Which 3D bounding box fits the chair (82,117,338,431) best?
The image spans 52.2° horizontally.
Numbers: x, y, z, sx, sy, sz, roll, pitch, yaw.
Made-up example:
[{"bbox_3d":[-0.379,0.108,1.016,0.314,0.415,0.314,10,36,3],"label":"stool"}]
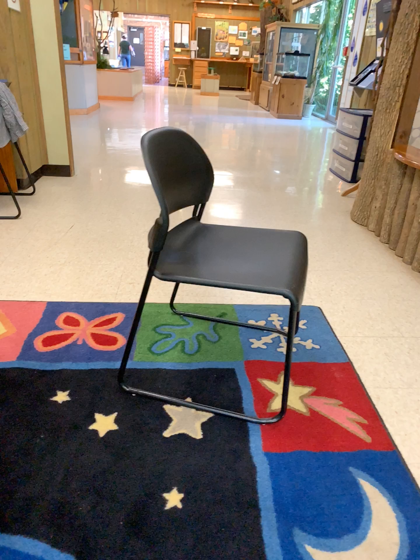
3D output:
[{"bbox_3d":[0.035,-0.075,1.417,0.610,0.776,0.593,9,27,12],"label":"chair"}]
